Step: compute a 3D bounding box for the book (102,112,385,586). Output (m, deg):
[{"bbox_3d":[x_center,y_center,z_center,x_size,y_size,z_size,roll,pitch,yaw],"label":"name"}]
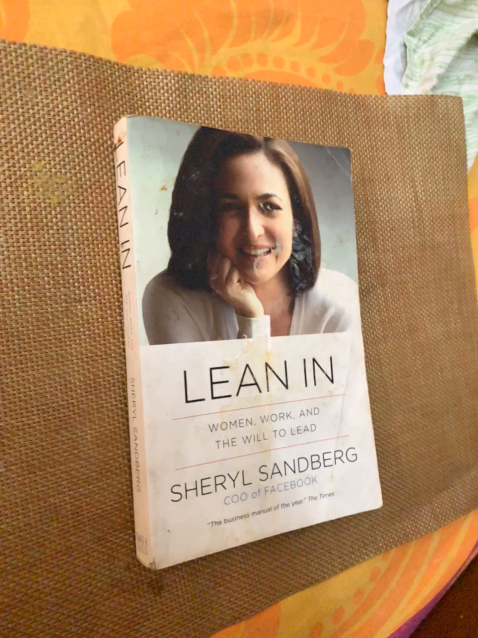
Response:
[{"bbox_3d":[0.006,0.009,0.267,0.141,0.026,0.212,-2,85,-28],"label":"book"}]
